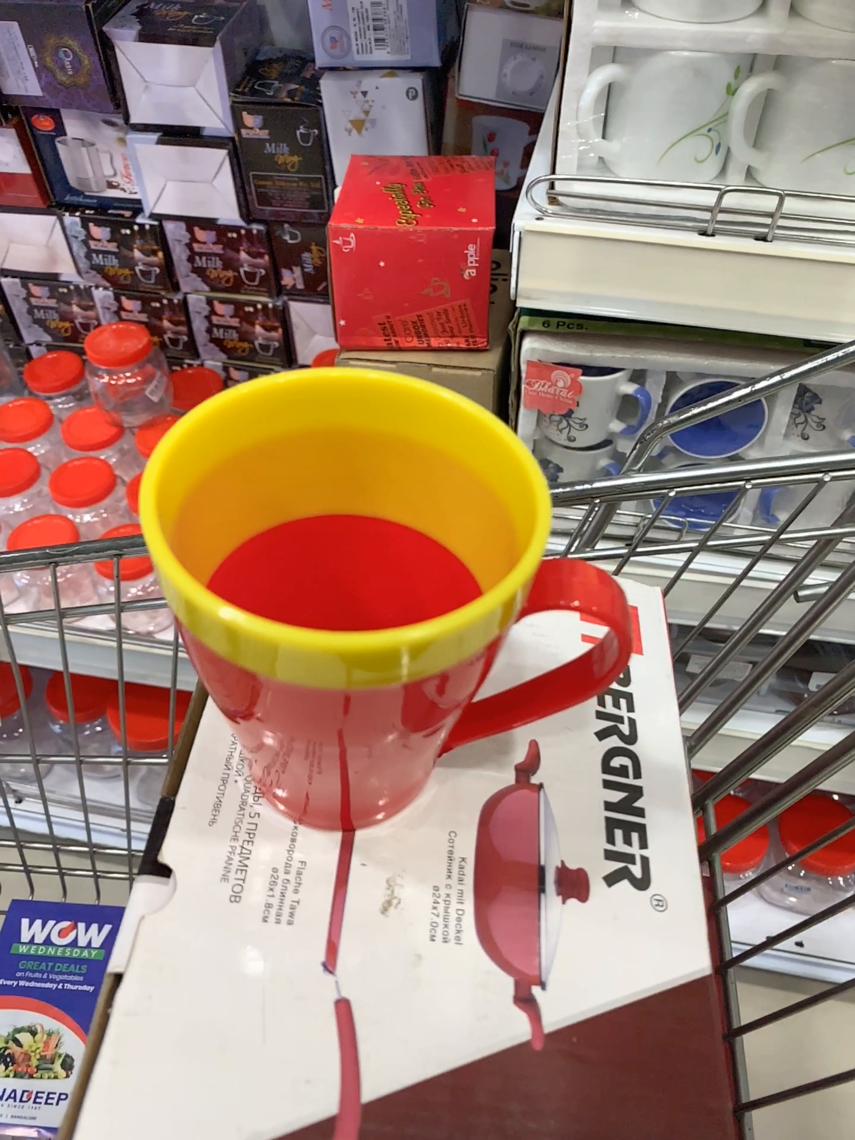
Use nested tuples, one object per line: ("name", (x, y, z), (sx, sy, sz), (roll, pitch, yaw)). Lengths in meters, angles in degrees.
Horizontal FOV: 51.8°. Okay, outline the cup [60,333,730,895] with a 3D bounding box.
("cup", (-0.003, 0.010, 0.199), (0.110, 0.080, 0.080), (8, 47, 3))
